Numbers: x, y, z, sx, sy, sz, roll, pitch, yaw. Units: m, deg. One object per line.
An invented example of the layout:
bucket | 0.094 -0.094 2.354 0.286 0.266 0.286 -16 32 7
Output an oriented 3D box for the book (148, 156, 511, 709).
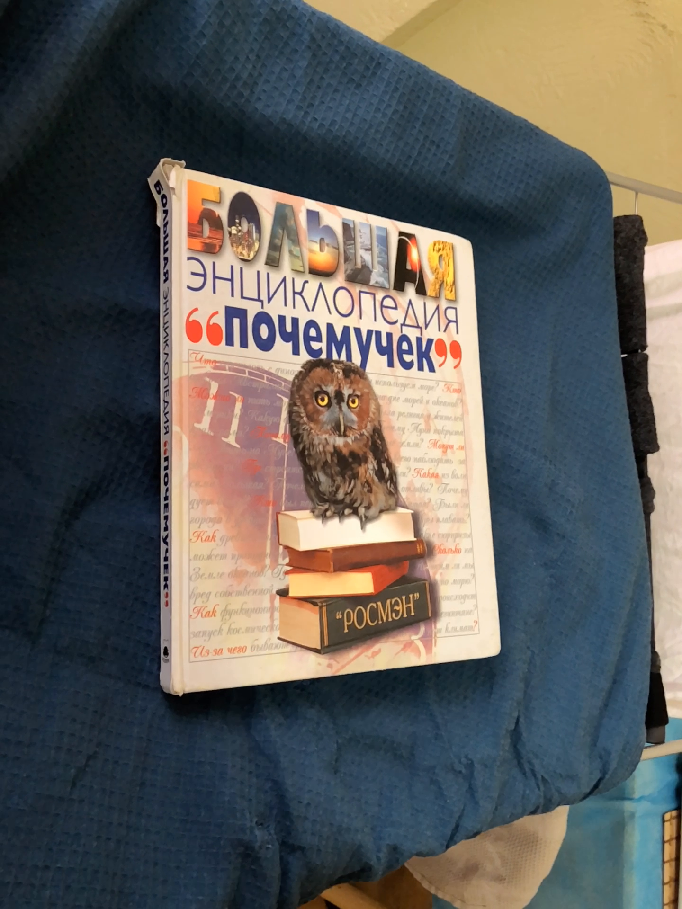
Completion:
book | -0.002 -0.014 0.477 0.236 0.030 0.305 3 79 -31
